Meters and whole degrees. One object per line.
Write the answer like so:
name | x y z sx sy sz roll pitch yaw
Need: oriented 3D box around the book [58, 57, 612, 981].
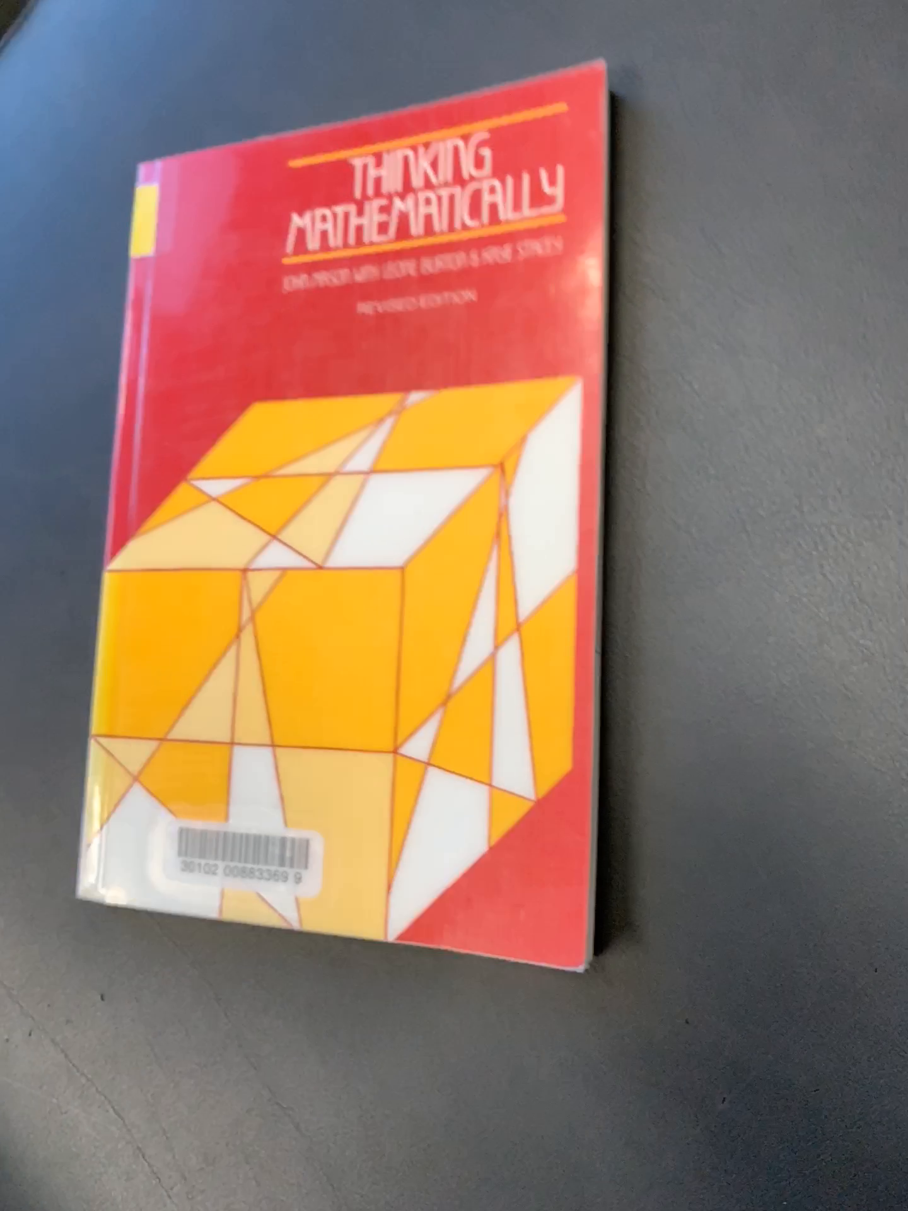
book | -0.036 -0.026 0.269 0.157 0.016 0.232 0 83 21
